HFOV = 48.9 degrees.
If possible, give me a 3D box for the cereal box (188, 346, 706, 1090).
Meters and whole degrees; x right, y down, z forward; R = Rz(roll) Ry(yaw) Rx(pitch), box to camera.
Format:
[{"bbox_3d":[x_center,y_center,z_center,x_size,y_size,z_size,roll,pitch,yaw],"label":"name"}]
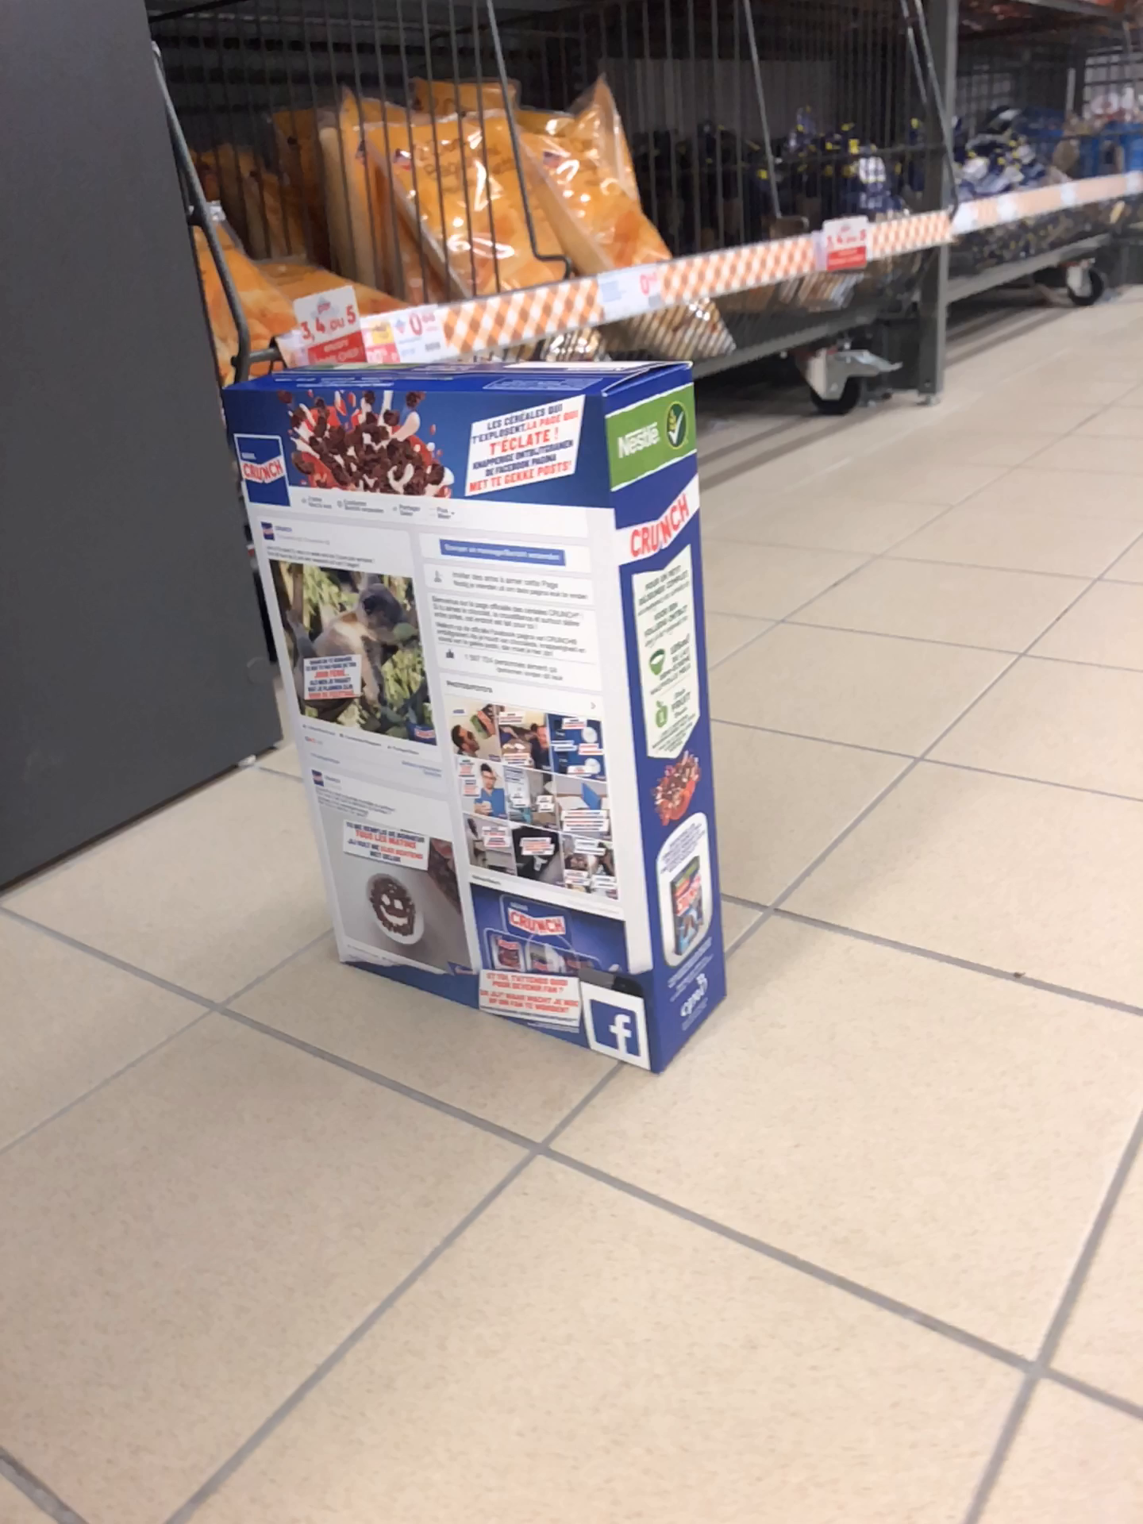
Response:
[{"bbox_3d":[-0.047,-0.024,0.544,0.190,0.289,0.070,11,28,32],"label":"cereal box"}]
